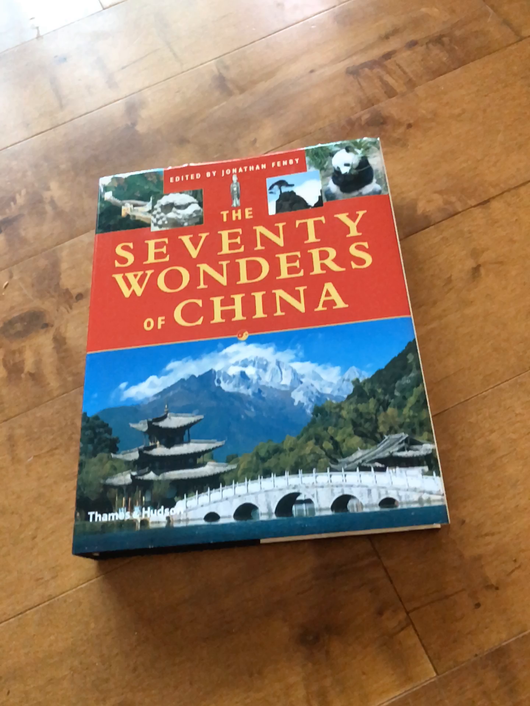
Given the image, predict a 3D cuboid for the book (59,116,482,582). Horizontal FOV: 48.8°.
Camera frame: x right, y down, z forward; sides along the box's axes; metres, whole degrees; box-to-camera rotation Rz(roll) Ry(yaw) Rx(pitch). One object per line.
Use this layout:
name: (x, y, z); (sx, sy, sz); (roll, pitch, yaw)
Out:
book: (-0.008, -0.014, 0.386); (0.220, 0.050, 0.291); (-7, 65, 6)
